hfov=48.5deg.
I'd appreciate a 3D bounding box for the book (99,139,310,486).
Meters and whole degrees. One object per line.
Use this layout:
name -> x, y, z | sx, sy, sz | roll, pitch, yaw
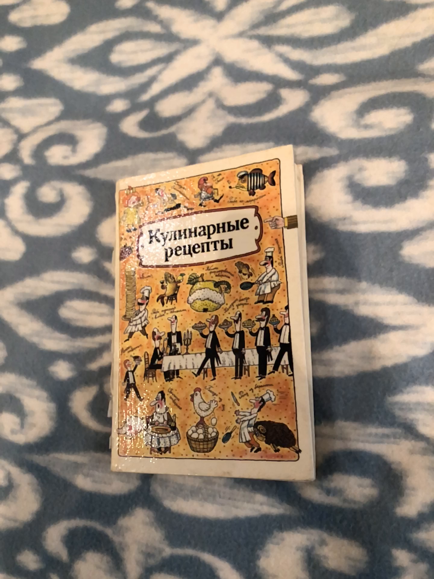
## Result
book -> -0.015, 0.017, 0.344 | 0.142, 0.032, 0.220 | -6, 79, 22
